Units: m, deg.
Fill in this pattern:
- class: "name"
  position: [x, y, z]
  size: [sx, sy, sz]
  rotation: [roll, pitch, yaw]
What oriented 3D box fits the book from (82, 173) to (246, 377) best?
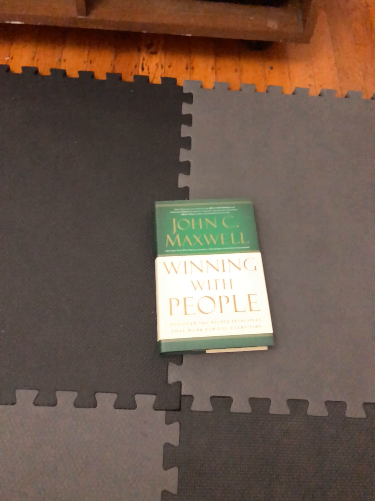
- class: "book"
  position: [-0.032, 0.022, 0.579]
  size: [0.200, 0.030, 0.291]
  rotation: [0, 65, -4]
